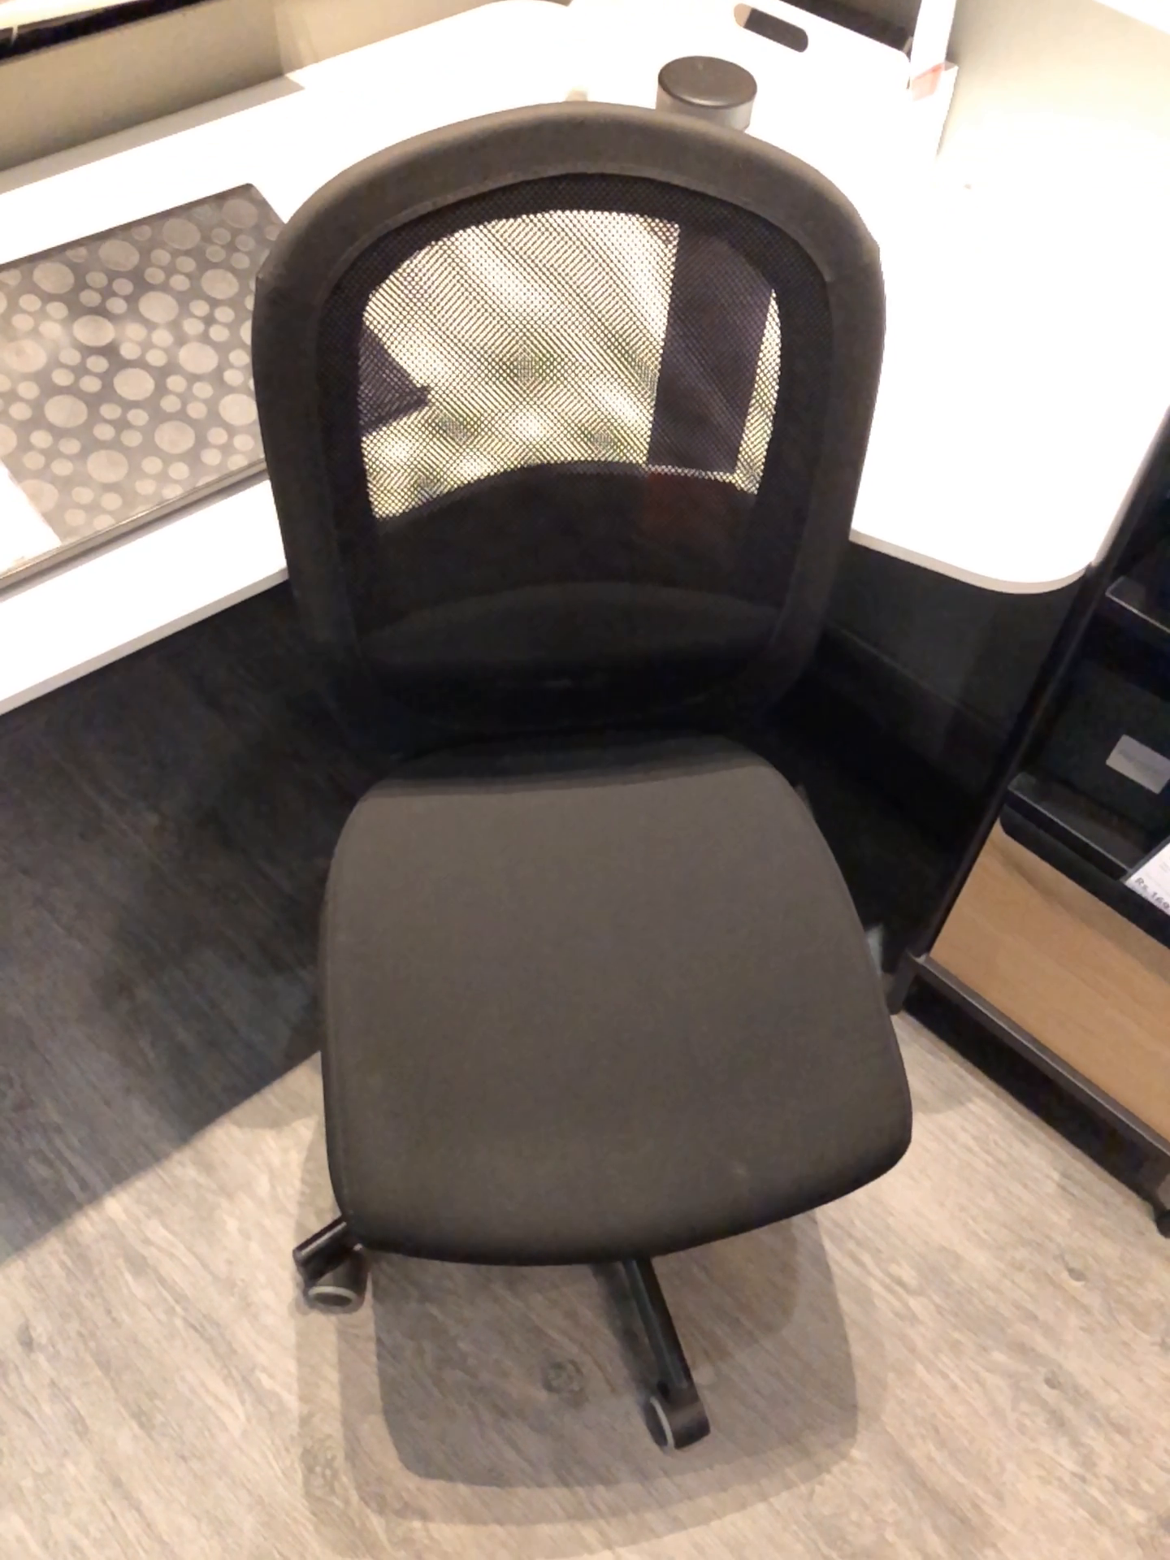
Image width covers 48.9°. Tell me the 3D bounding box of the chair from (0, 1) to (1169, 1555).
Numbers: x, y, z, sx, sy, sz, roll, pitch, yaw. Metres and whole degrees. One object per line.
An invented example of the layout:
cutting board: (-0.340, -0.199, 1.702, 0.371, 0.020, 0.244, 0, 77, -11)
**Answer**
chair: (0.012, 0.050, 0.981, 0.630, 0.885, 0.714, -8, 53, -10)
